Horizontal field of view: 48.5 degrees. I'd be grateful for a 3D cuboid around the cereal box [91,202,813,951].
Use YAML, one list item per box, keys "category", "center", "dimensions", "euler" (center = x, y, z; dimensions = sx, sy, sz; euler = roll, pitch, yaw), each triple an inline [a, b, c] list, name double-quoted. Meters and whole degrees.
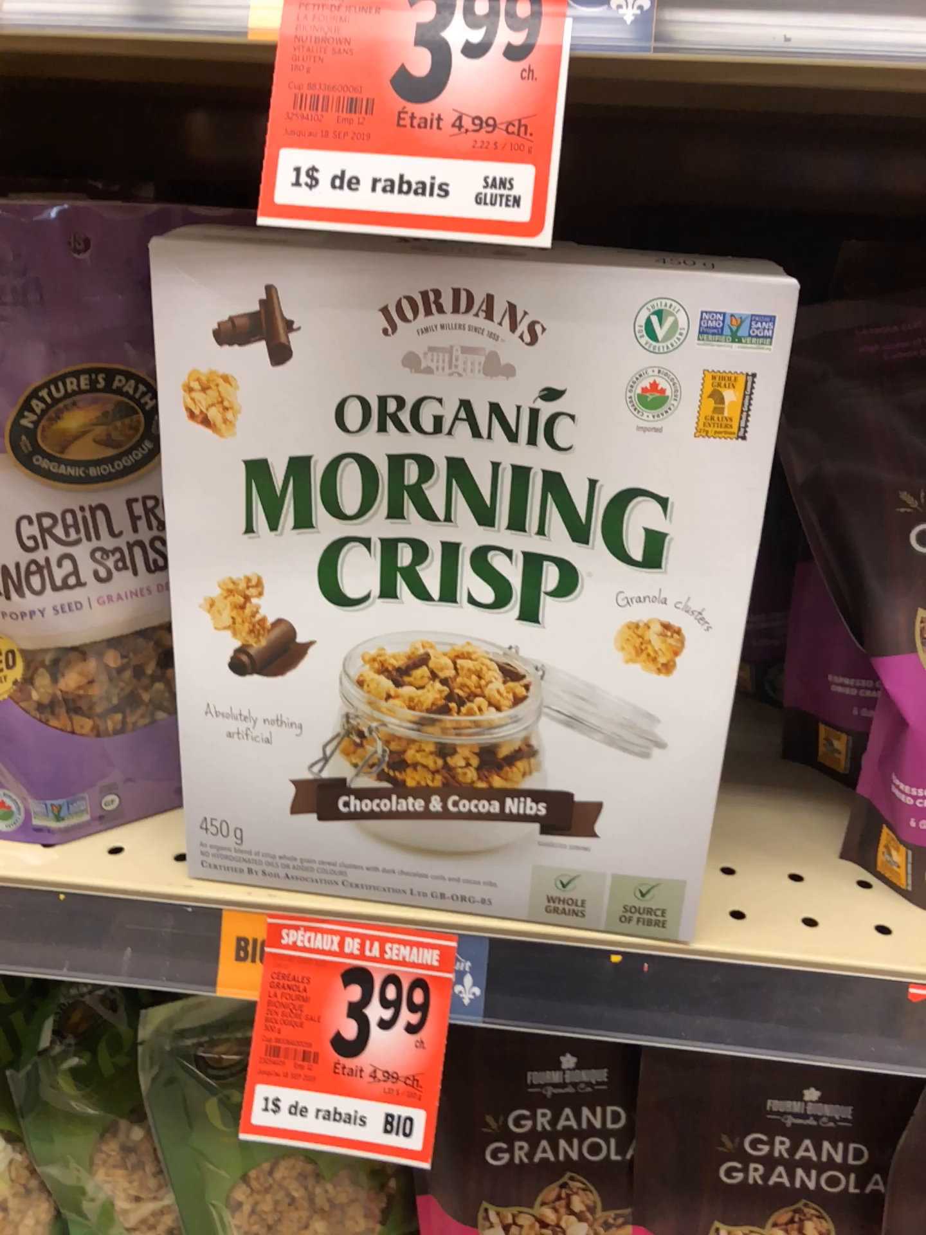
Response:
- category: "cereal box"
  center: [-0.008, -0.010, 0.316]
  dimensions: [0.180, 0.209, 0.050]
  euler: [6, 23, 6]
